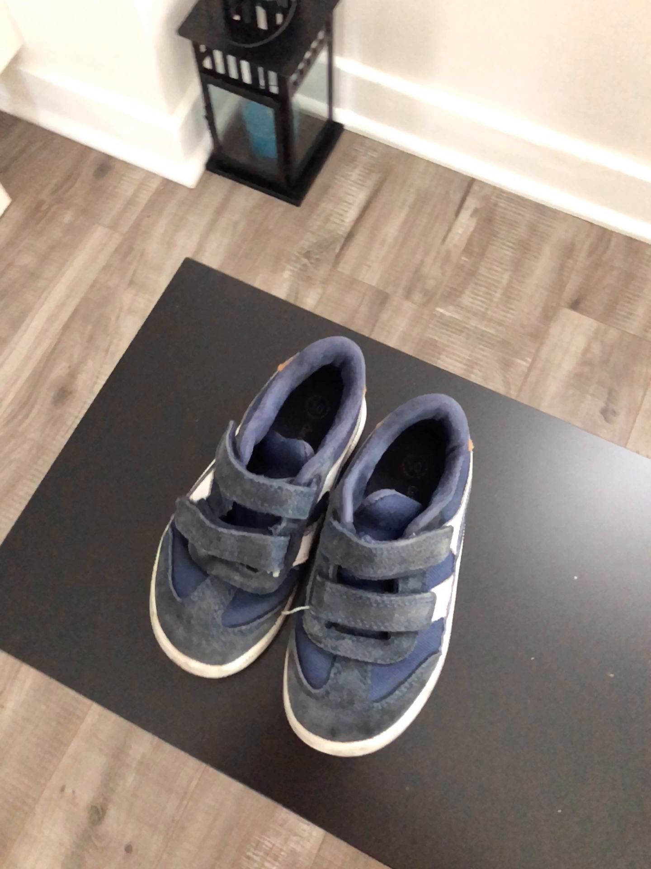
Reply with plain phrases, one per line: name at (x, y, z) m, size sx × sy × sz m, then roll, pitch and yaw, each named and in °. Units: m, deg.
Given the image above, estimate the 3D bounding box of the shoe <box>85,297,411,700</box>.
shoe at (-0.033, 0.033, 0.382) m, size 0.082 × 0.068 × 0.185 m, roll 25°, pitch 73°, yaw 9°

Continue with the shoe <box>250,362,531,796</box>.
shoe at (0.036, 0.069, 0.370) m, size 0.088 × 0.068 × 0.185 m, roll 15°, pitch 72°, yaw 6°
